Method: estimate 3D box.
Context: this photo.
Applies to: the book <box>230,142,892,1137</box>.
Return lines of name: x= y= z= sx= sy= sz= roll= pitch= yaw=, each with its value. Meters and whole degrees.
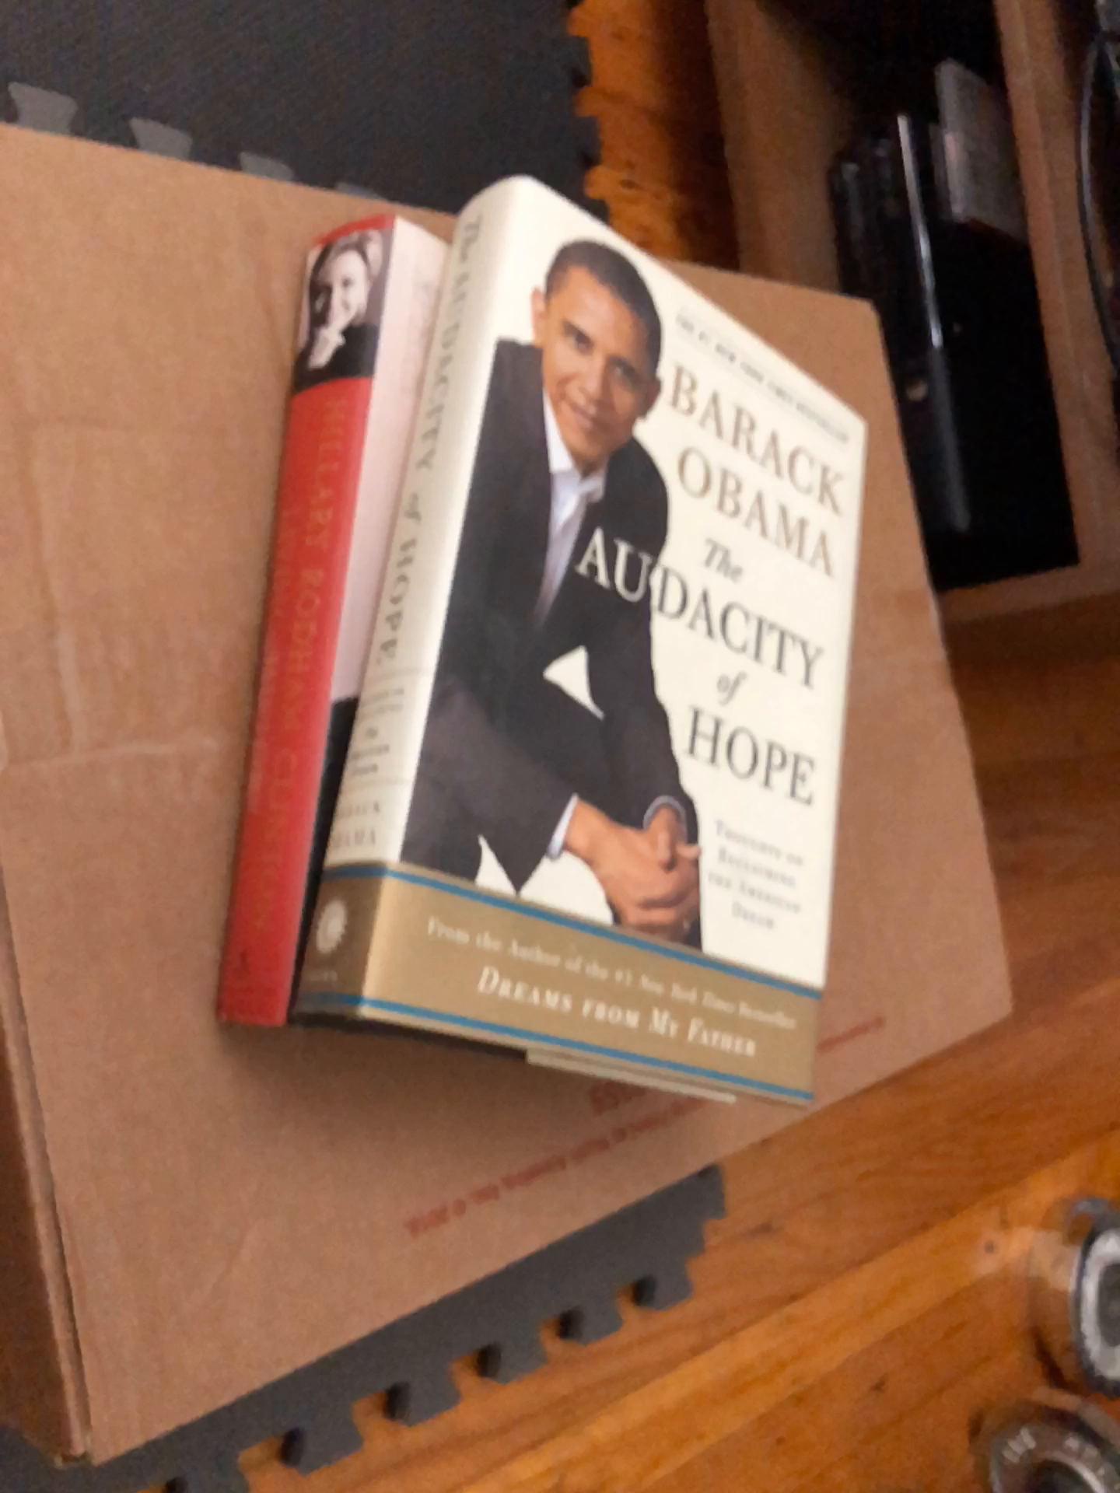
book: x=0.021 y=-0.022 z=0.389 sx=0.191 sy=0.040 sz=0.250 roll=22 pitch=68 yaw=-36

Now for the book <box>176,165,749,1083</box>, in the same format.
book: x=-0.015 y=-0.026 z=0.399 sx=0.171 sy=0.040 sz=0.250 roll=15 pitch=72 yaw=-38
